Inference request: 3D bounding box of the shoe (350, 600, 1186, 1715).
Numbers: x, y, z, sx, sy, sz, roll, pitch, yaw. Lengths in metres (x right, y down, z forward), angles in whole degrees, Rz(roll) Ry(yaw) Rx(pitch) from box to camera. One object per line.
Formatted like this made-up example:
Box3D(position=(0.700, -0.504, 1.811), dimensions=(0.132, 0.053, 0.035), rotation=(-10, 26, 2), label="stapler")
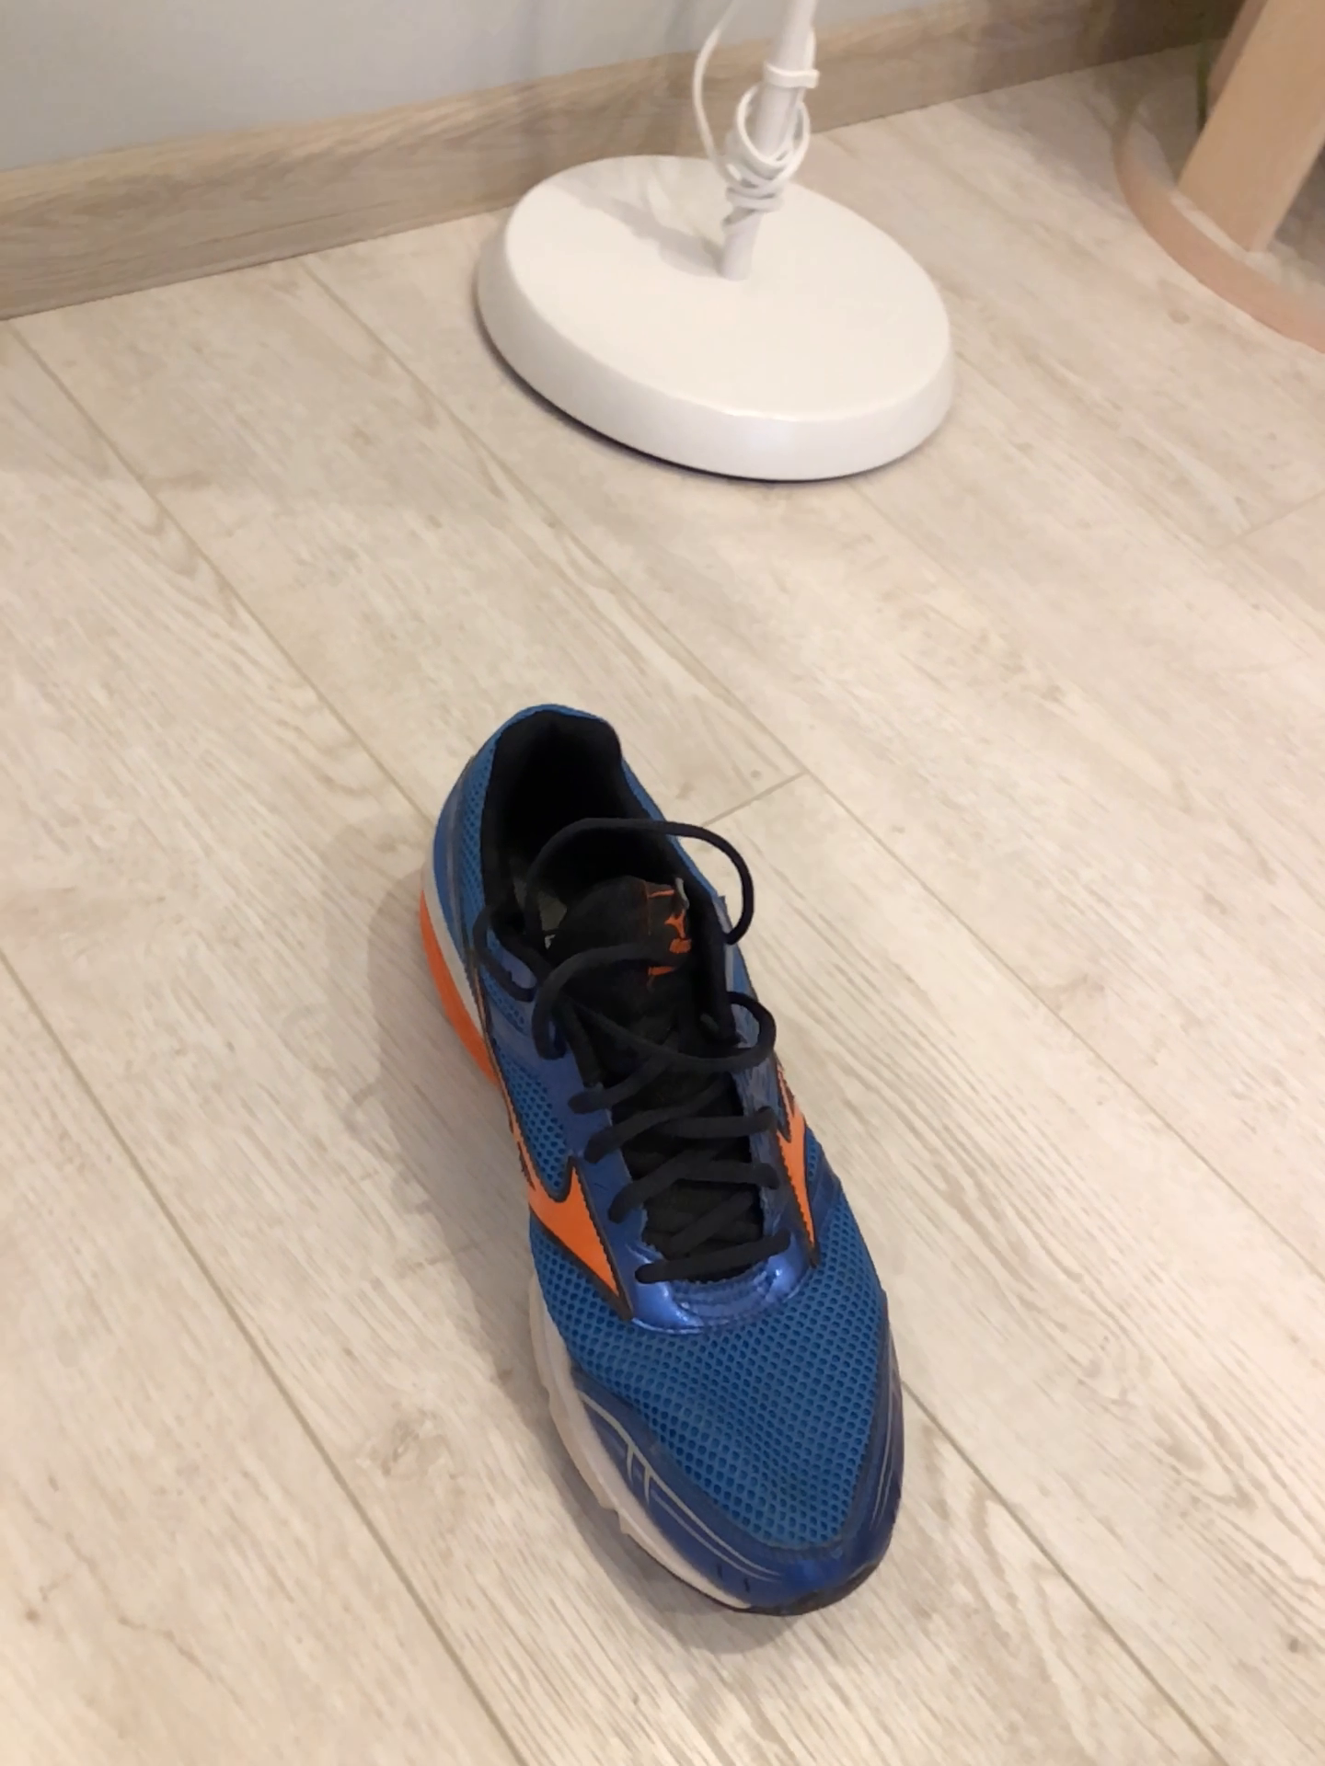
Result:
Box3D(position=(0.004, 0.065, 0.454), dimensions=(0.116, 0.119, 0.301), rotation=(-12, 56, -23), label="shoe")
